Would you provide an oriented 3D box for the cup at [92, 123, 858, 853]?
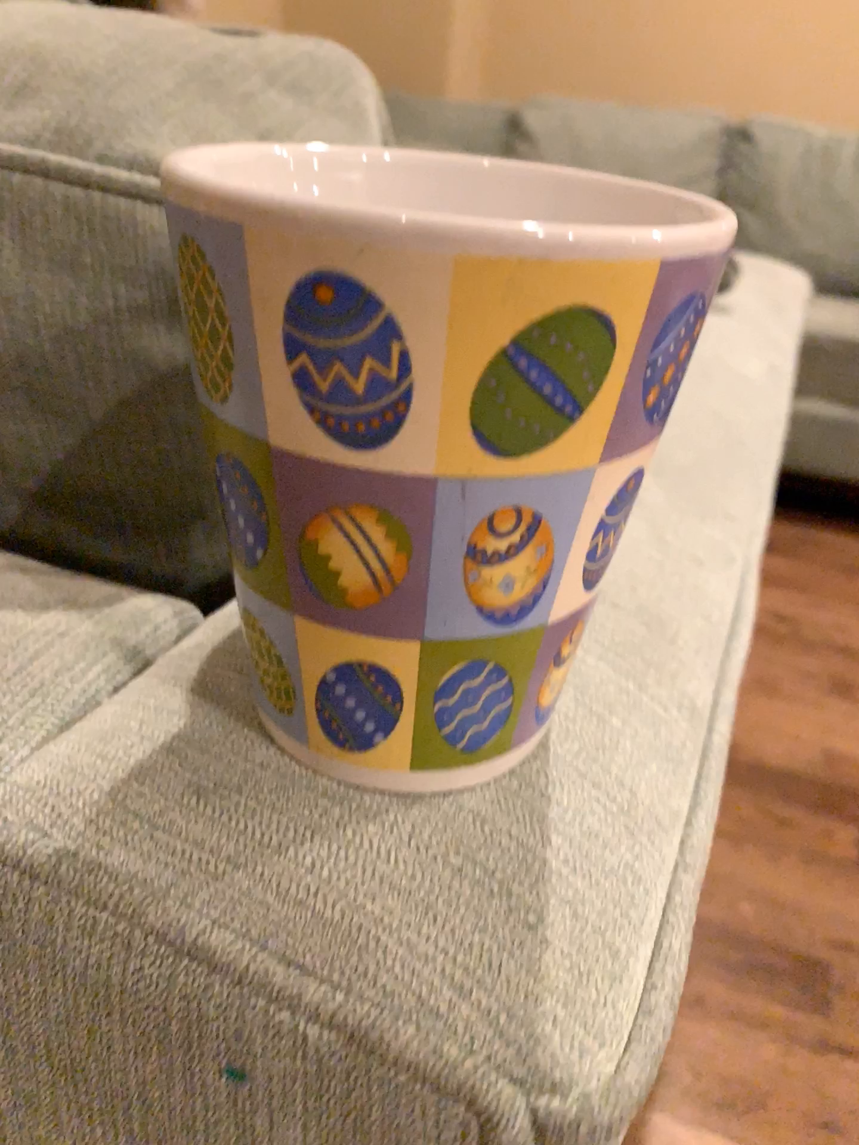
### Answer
[{"bbox_3d":[-0.006,-0.032,0.179,0.095,0.087,0.123,-8,31,-23],"label":"cup"}]
